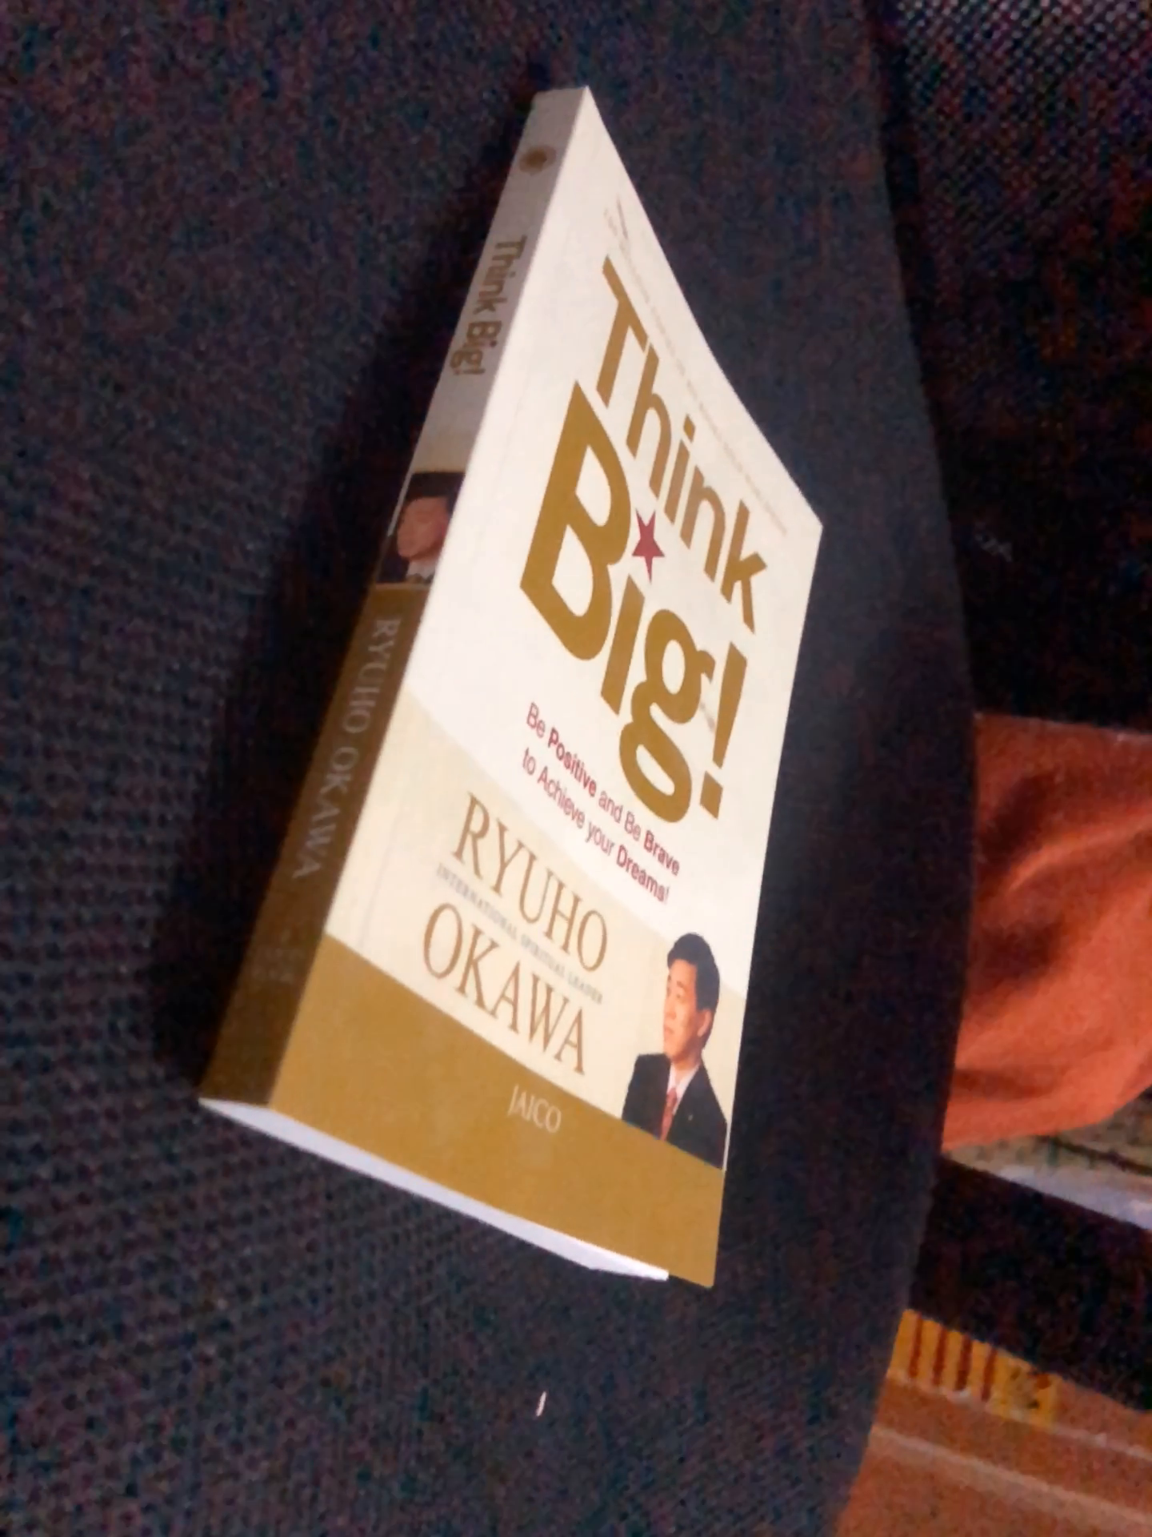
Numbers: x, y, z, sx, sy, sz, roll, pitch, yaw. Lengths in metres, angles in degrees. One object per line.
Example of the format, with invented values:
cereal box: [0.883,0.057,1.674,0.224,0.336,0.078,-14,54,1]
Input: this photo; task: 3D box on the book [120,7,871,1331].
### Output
book: [0.011,-0.010,0.233,0.138,0.026,0.190,46,50,-50]
